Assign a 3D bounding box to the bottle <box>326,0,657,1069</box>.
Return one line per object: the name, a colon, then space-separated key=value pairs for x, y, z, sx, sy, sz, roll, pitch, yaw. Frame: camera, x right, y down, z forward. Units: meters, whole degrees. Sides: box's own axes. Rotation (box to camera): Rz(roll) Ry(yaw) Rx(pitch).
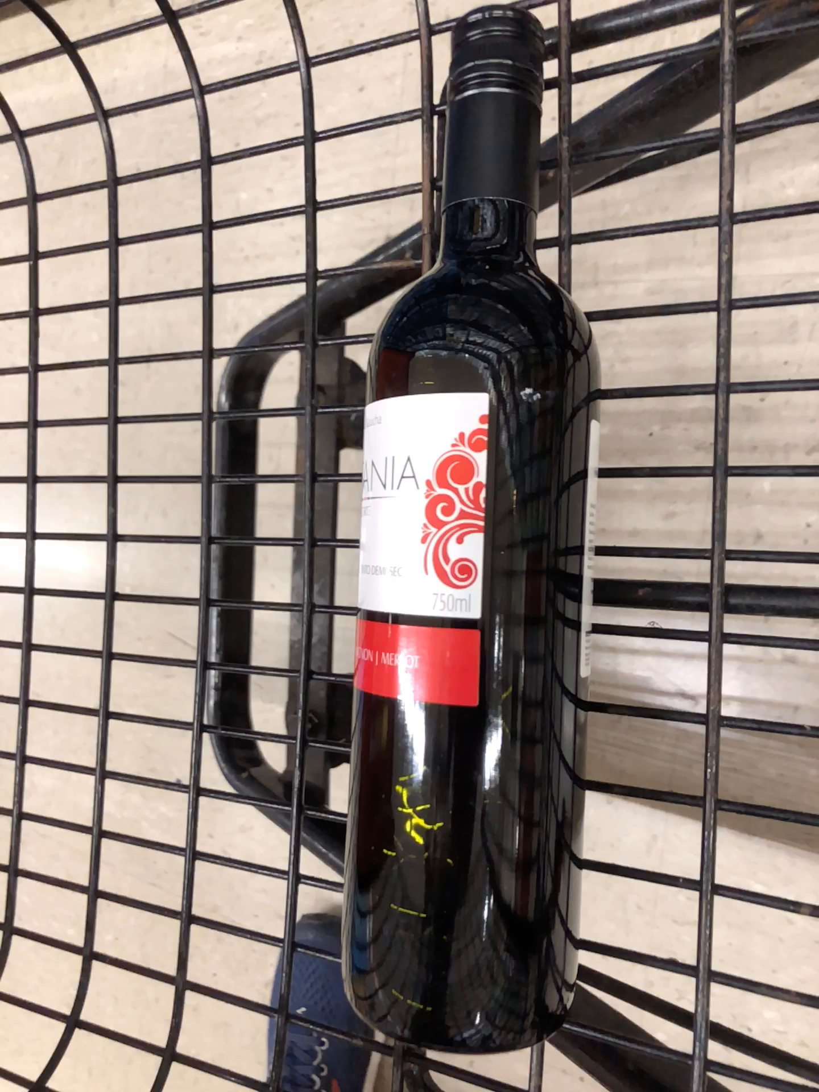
bottle: x=0.020 y=-0.018 z=0.277 sx=0.080 sy=0.070 sz=0.300 roll=178 pitch=93 yaw=-74
